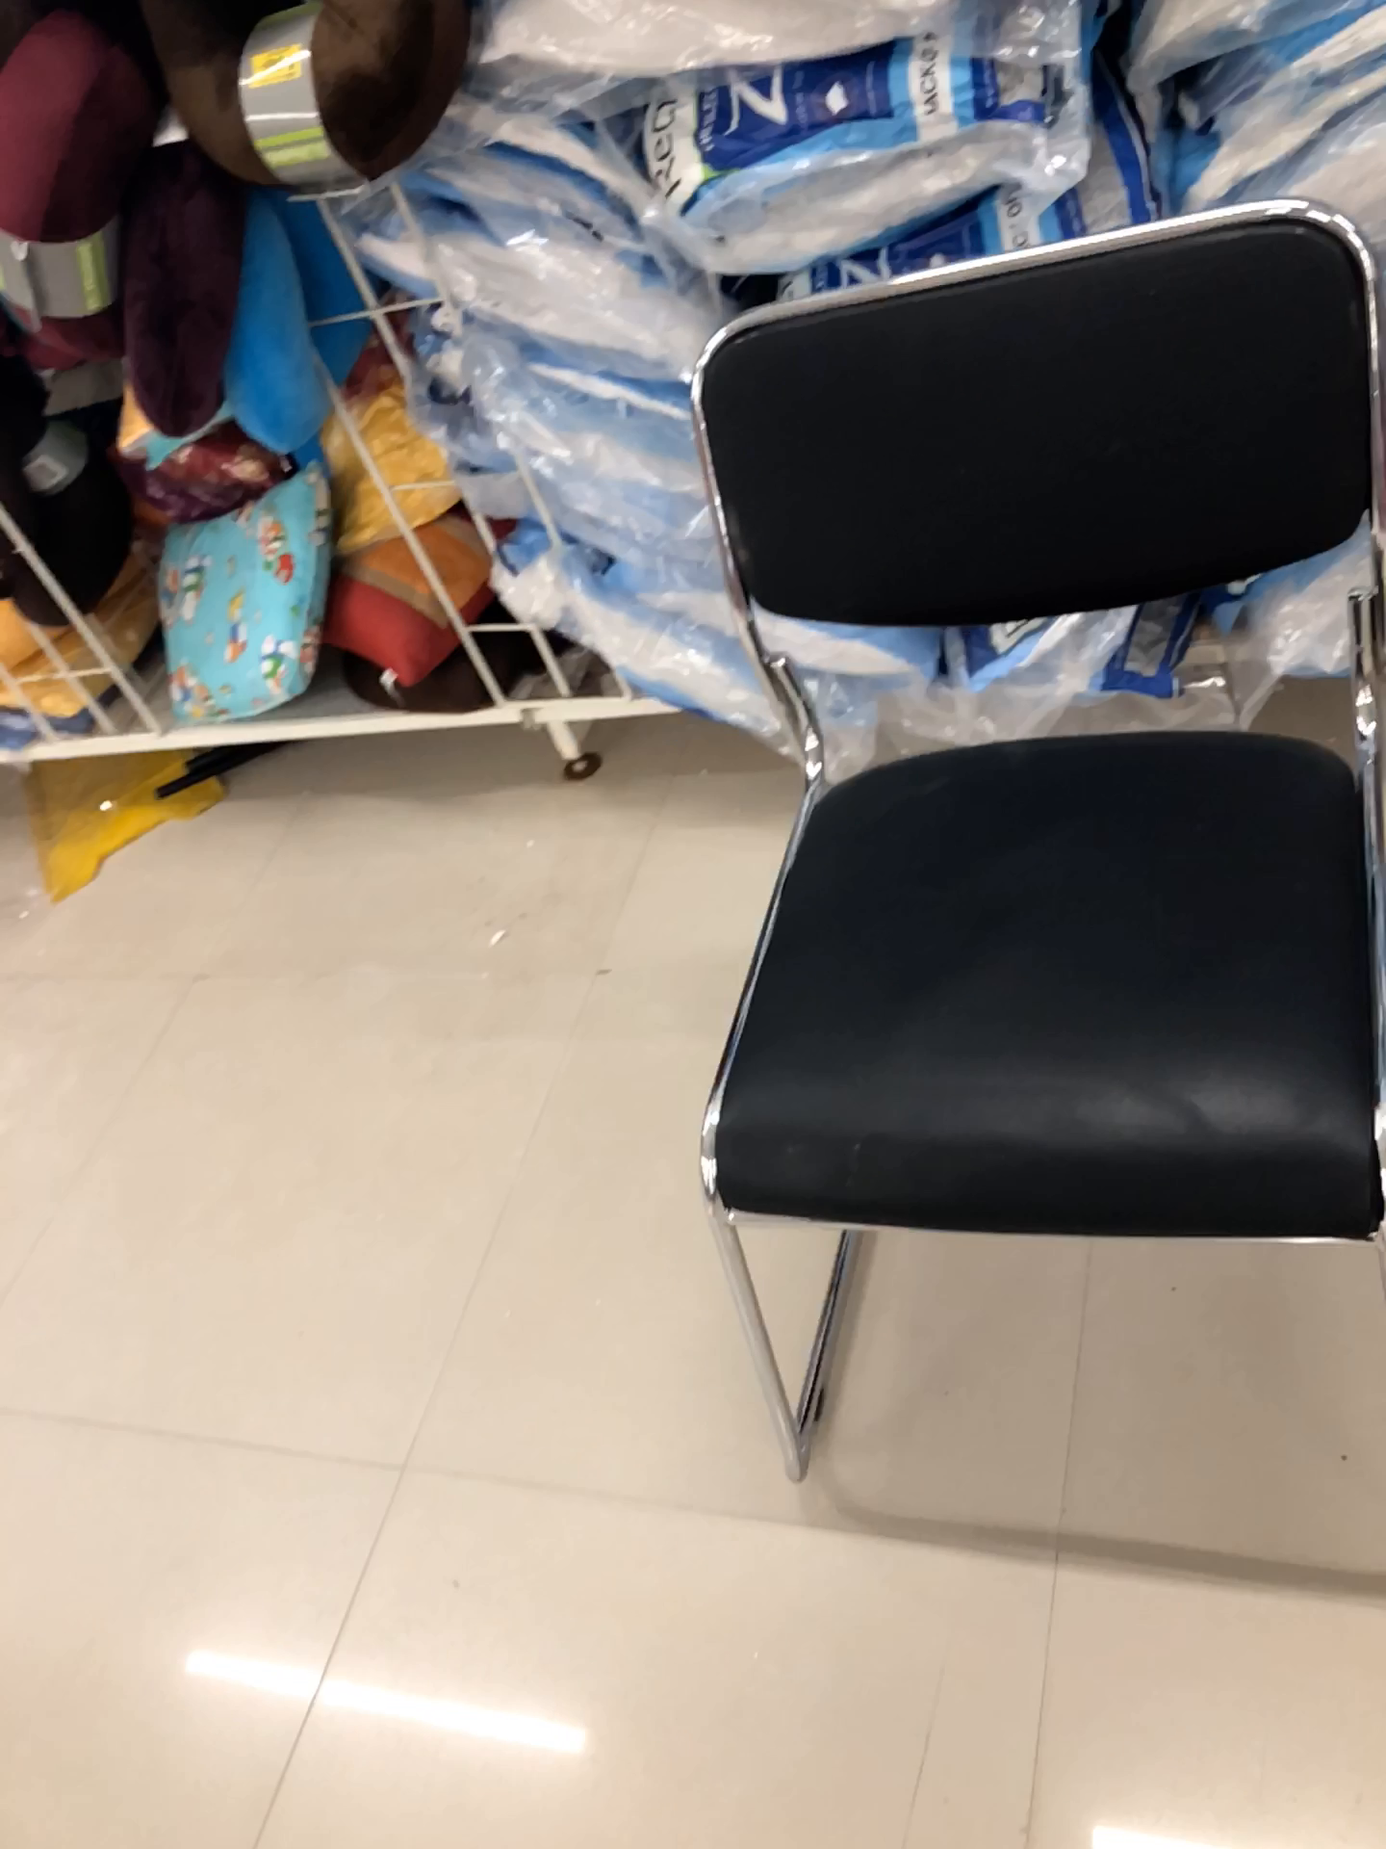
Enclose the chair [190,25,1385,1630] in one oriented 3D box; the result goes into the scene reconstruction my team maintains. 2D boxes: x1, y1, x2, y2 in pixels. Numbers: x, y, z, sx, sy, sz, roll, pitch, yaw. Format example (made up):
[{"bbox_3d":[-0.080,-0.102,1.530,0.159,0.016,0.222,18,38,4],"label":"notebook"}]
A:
[{"bbox_3d":[0.226,-0.006,1.031,0.570,0.796,0.563,-1,47,24],"label":"chair"}]
